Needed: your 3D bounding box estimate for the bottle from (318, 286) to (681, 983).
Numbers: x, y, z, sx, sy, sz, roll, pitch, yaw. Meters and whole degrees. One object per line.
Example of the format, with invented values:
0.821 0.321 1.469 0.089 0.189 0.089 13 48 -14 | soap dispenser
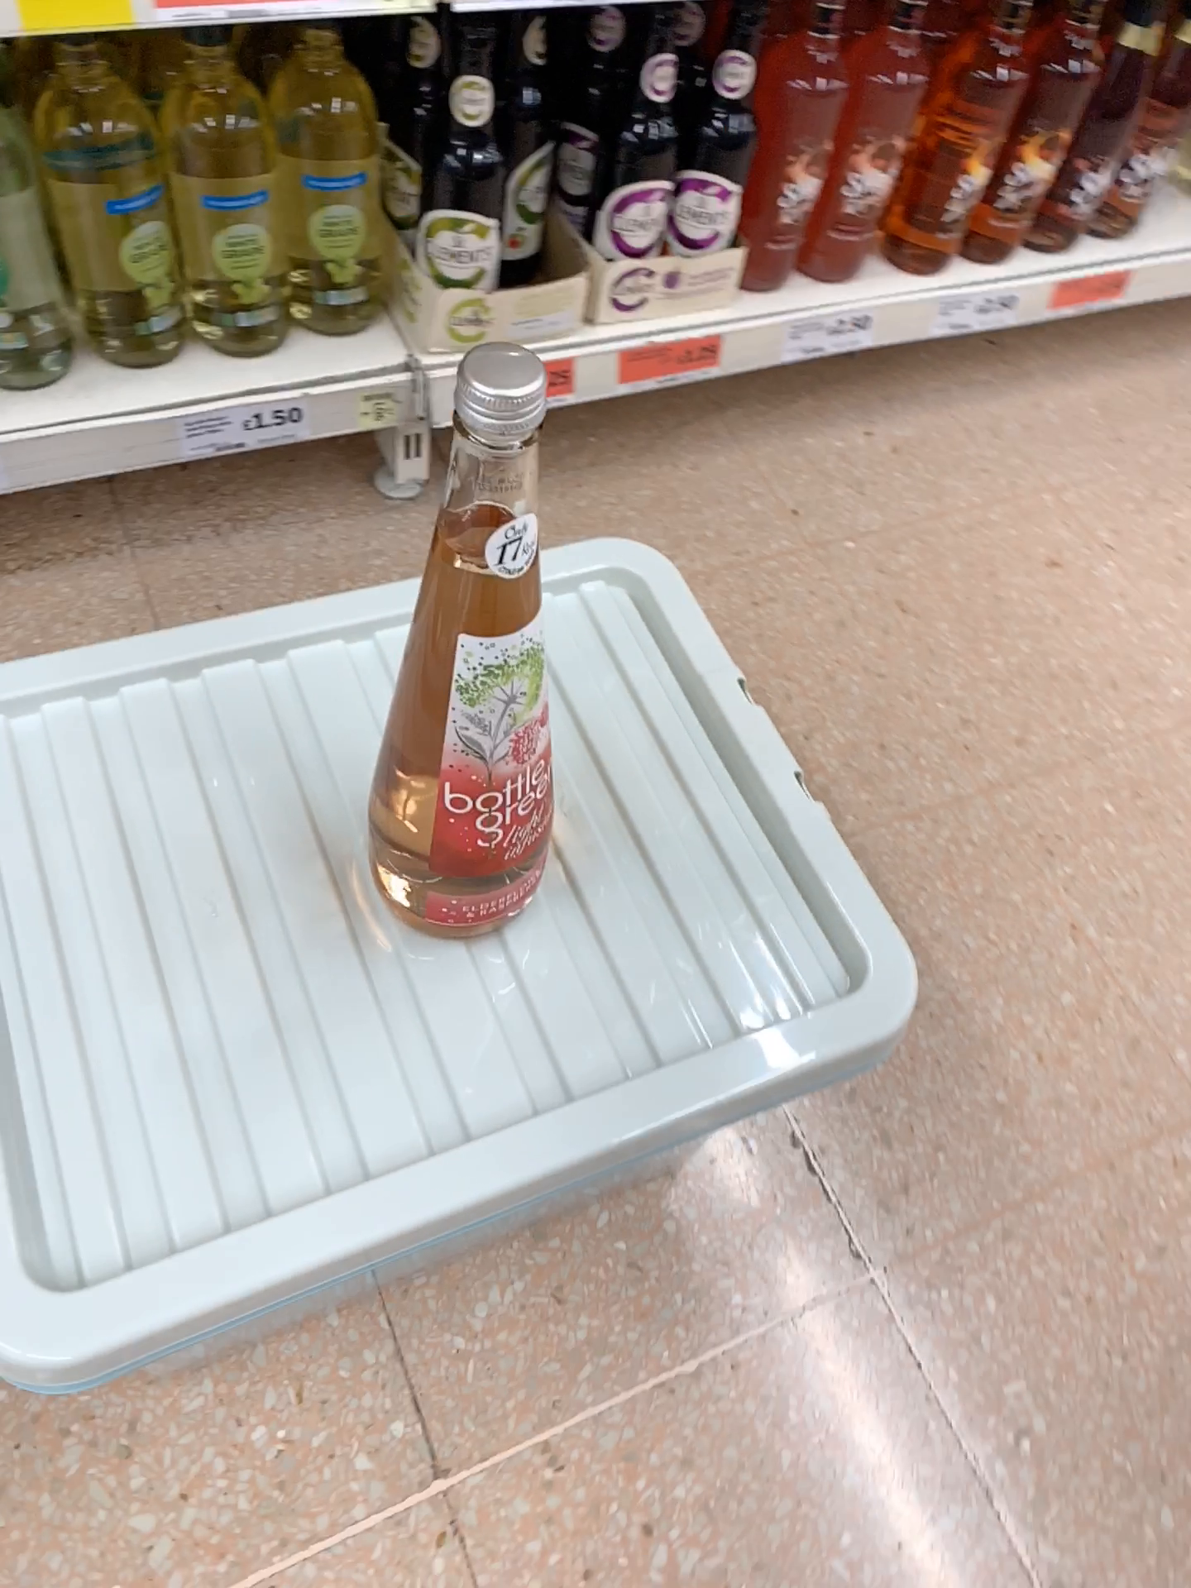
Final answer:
-0.051 -0.040 0.495 0.081 0.299 0.090 -20 62 -21 | bottle
